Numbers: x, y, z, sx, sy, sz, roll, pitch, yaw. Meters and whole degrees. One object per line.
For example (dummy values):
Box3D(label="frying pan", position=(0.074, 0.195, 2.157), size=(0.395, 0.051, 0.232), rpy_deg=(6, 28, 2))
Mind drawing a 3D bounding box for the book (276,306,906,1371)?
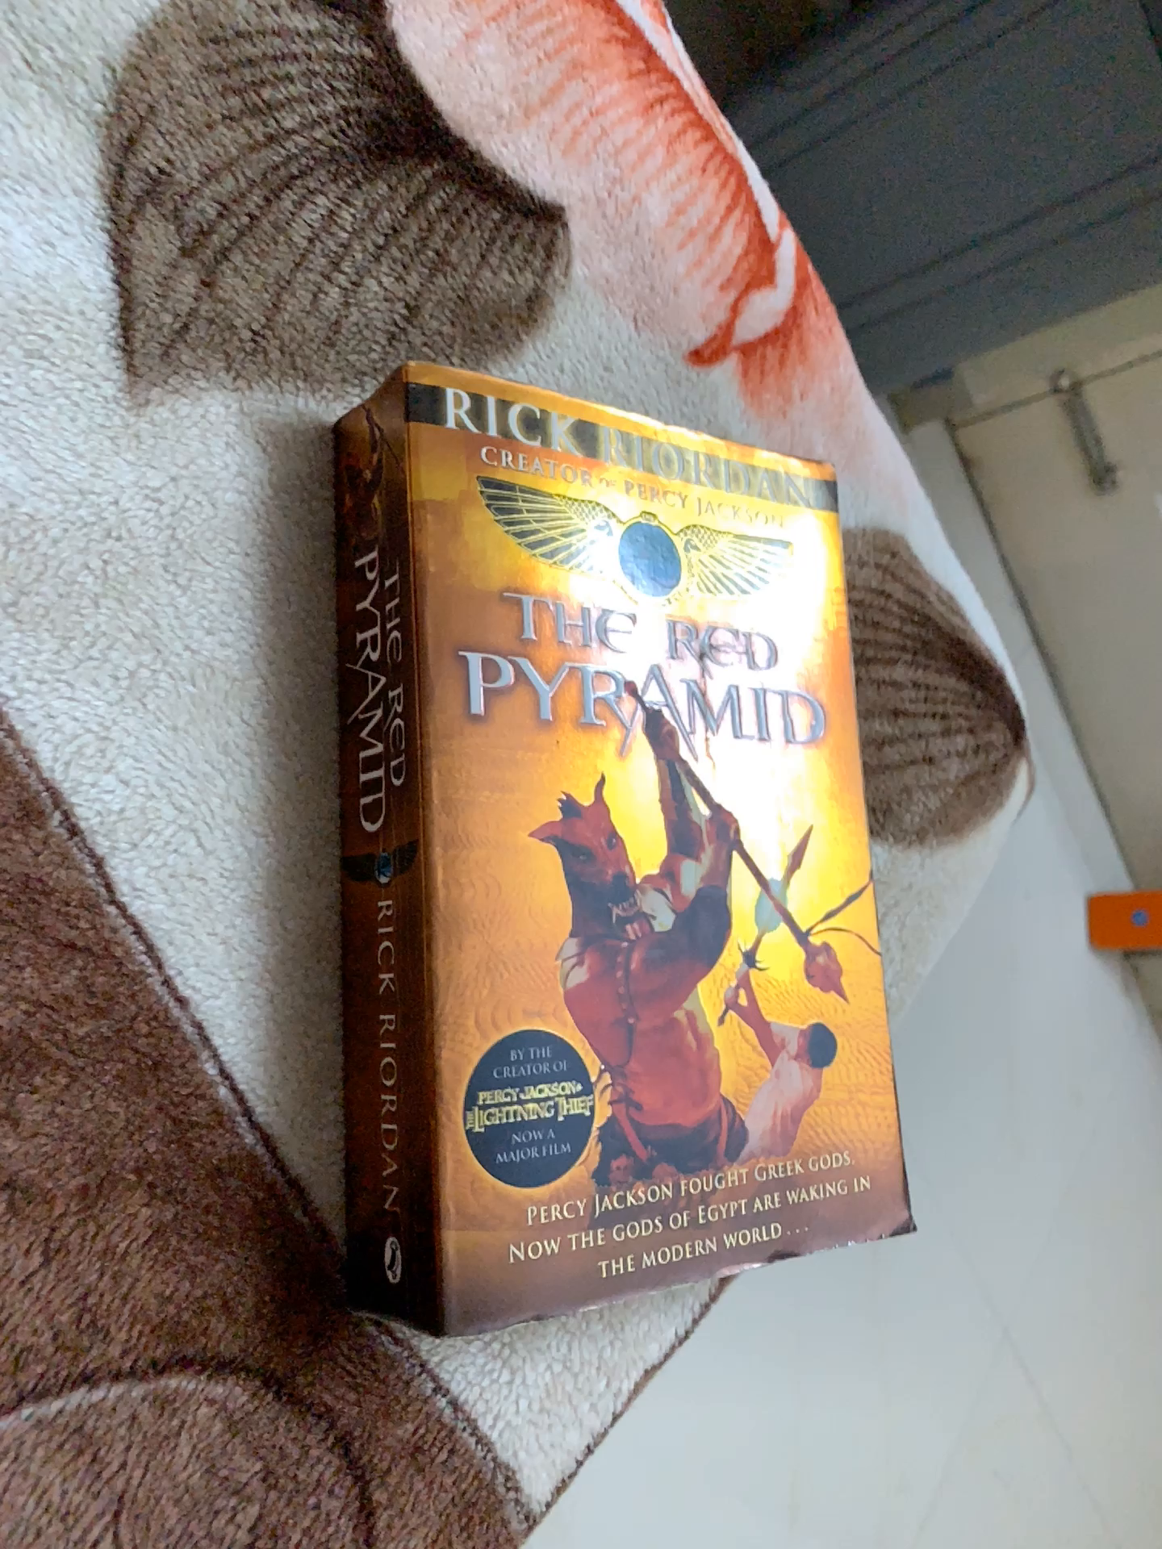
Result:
Box3D(label="book", position=(0.005, 0.011, 0.307), size=(0.151, 0.040, 0.220), rpy_deg=(4, 76, -37))
